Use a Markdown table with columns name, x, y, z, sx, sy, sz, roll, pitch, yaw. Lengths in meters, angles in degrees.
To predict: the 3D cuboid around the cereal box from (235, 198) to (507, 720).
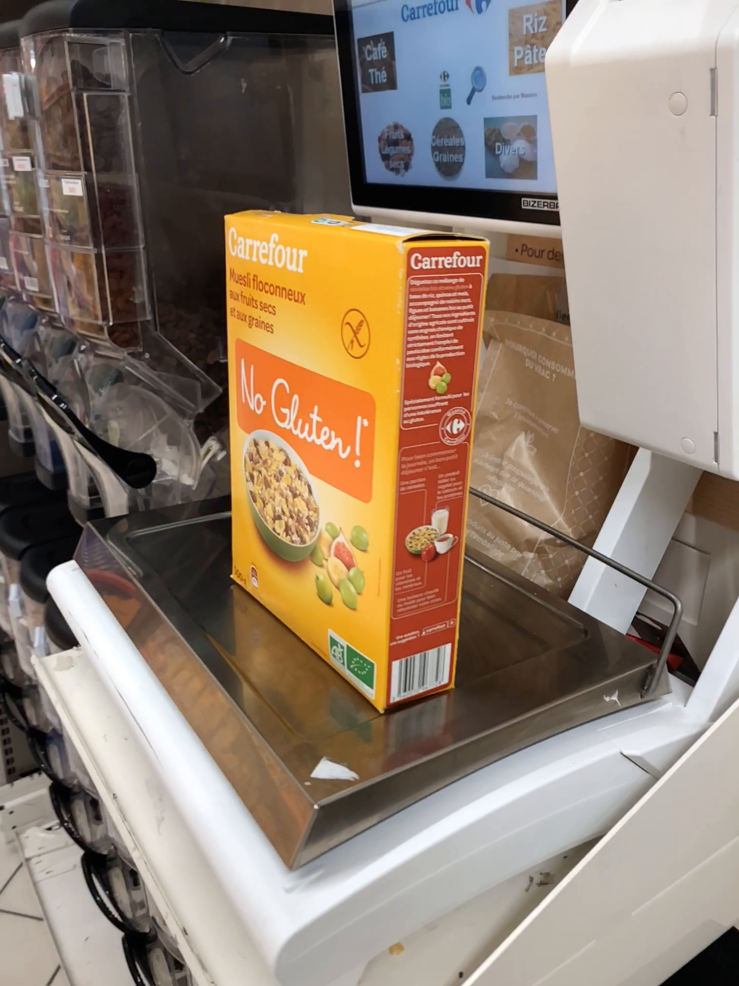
| name | x | y | z | sx | sy | sz | roll | pitch | yaw |
| --- | --- | --- | --- | --- | --- | --- | --- | --- | --- |
| cereal box | -0.014 | -0.033 | 0.482 | 0.050 | 0.259 | 0.190 | -11 | 25 | -31 |
